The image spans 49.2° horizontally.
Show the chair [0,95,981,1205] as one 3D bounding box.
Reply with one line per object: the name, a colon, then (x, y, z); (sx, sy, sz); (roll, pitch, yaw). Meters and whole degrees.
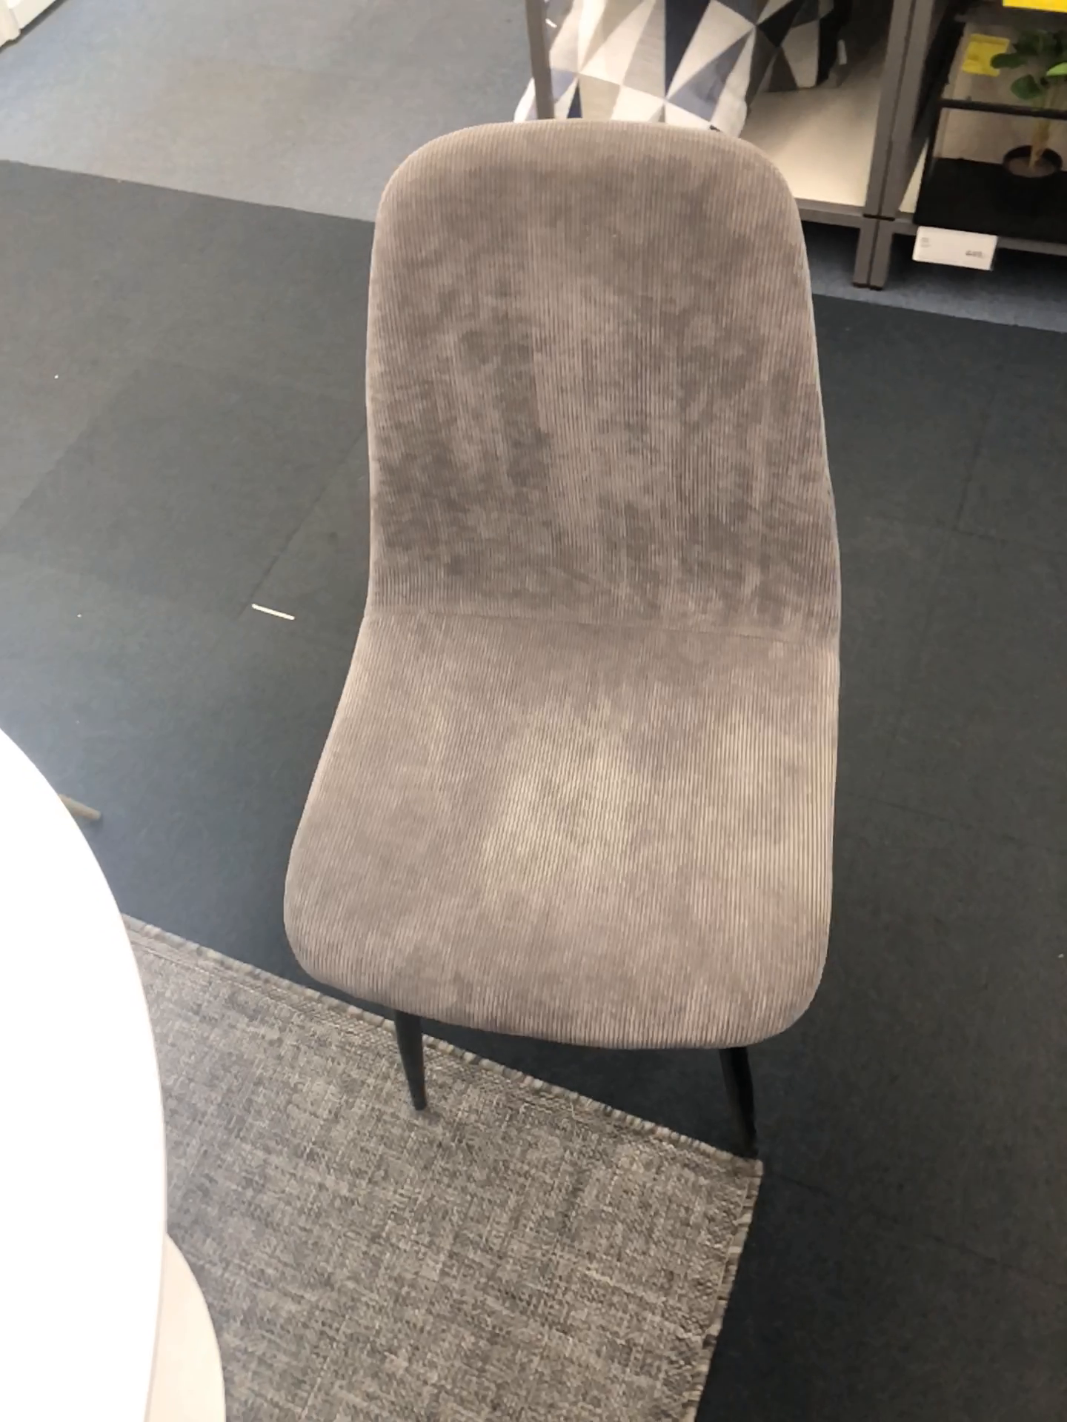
chair: (0.011, 0.003, 1.064); (0.580, 0.808, 0.581); (7, 57, 11)
